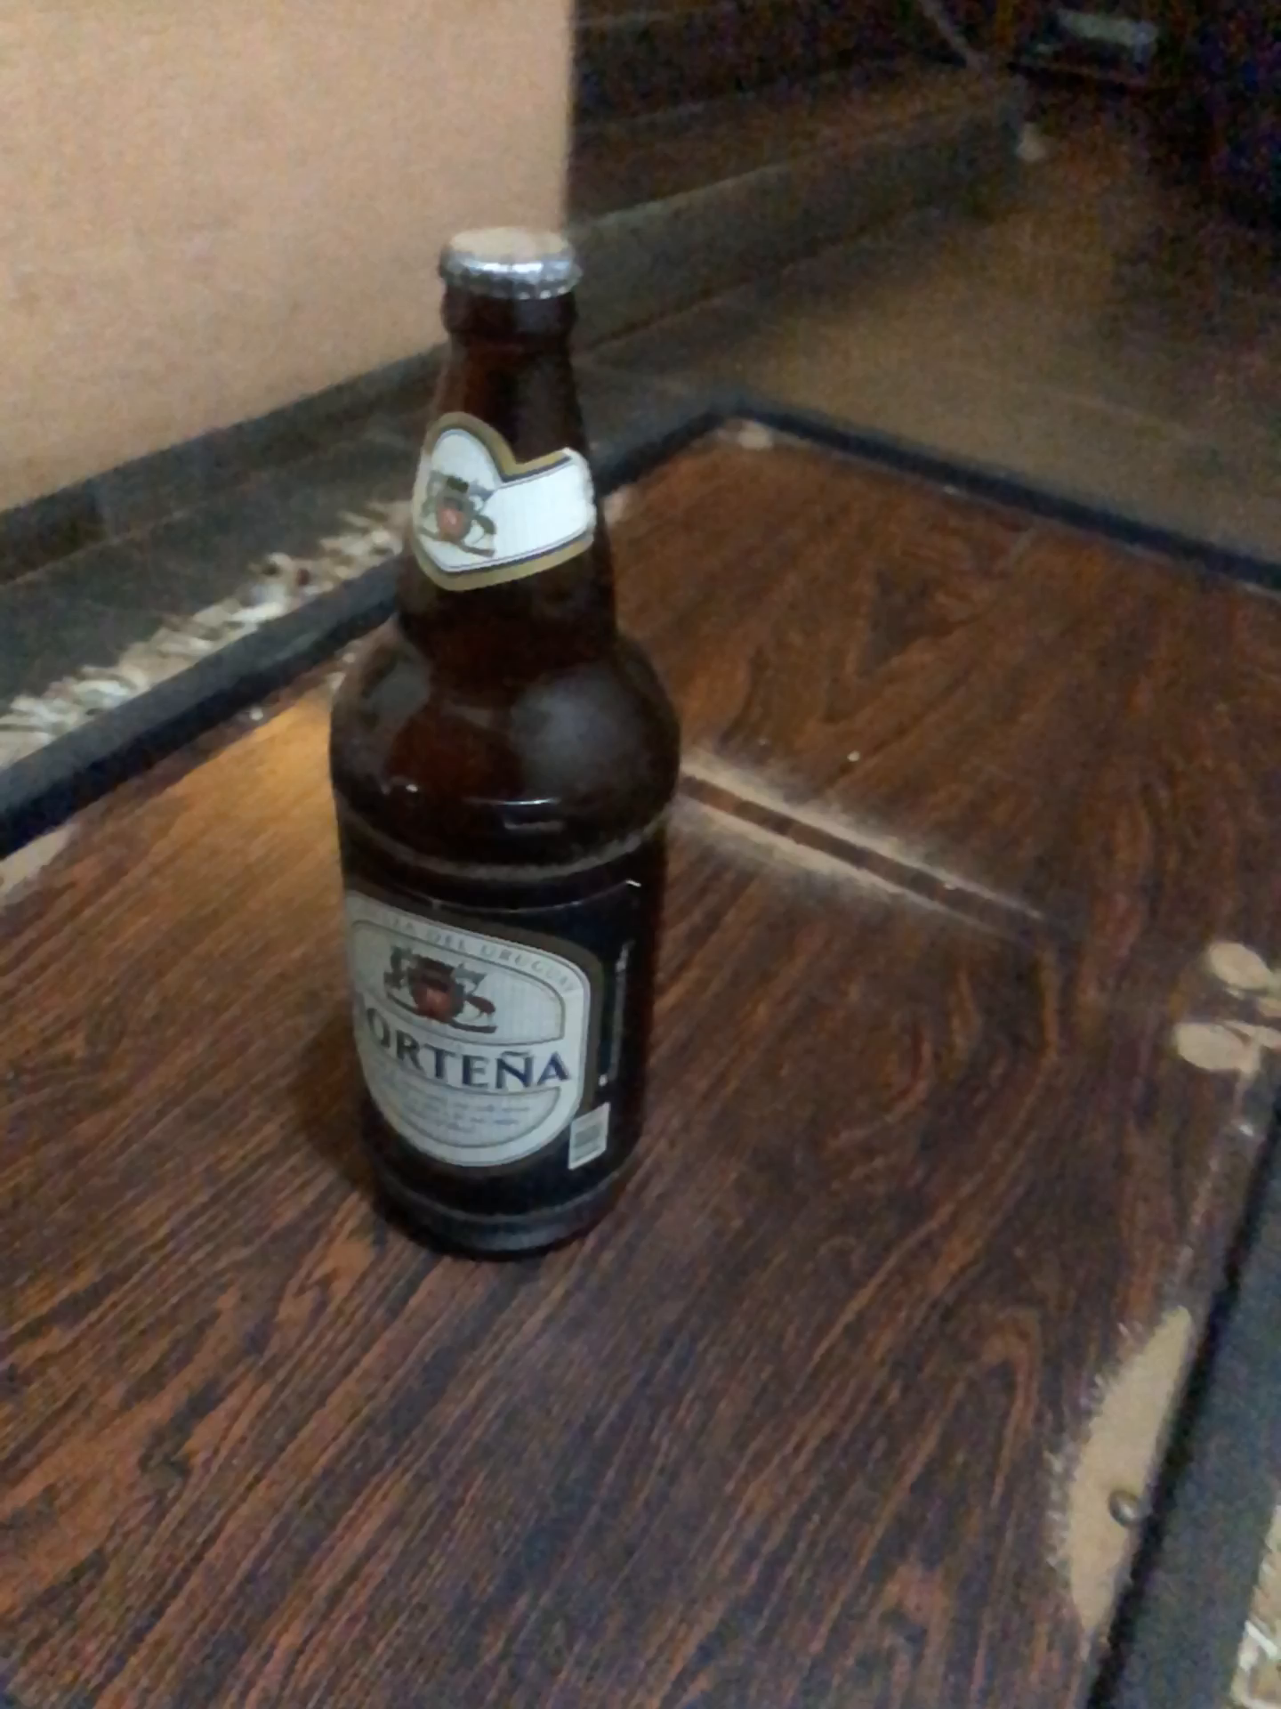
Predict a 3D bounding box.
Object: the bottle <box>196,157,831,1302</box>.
[{"bbox_3d":[-0.032,-0.020,0.372,0.100,0.268,0.101,4,37,-3],"label":"bottle"}]
